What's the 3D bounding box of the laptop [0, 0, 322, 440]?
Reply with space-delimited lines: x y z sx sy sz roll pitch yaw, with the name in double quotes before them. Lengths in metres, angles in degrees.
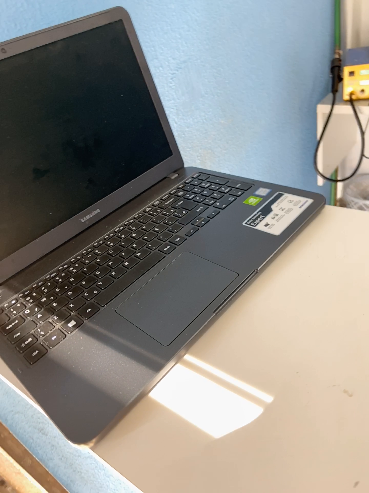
"laptop" -0.081 -0.091 0.401 0.287 0.232 0.371 21 49 40
